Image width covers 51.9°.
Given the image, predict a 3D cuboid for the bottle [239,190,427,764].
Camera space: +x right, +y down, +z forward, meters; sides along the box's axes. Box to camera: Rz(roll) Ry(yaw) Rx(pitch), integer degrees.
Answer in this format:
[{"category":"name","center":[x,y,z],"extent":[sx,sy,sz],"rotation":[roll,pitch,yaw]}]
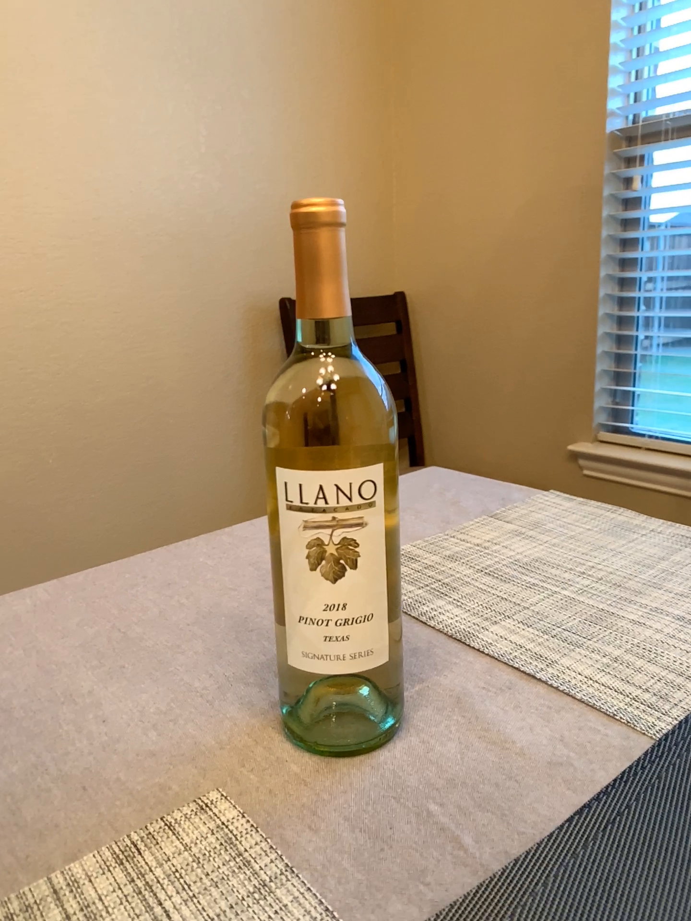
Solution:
[{"category":"bottle","center":[-0.001,0.013,0.398],"extent":[0.083,0.299,0.080],"rotation":[-2,14,0]}]
